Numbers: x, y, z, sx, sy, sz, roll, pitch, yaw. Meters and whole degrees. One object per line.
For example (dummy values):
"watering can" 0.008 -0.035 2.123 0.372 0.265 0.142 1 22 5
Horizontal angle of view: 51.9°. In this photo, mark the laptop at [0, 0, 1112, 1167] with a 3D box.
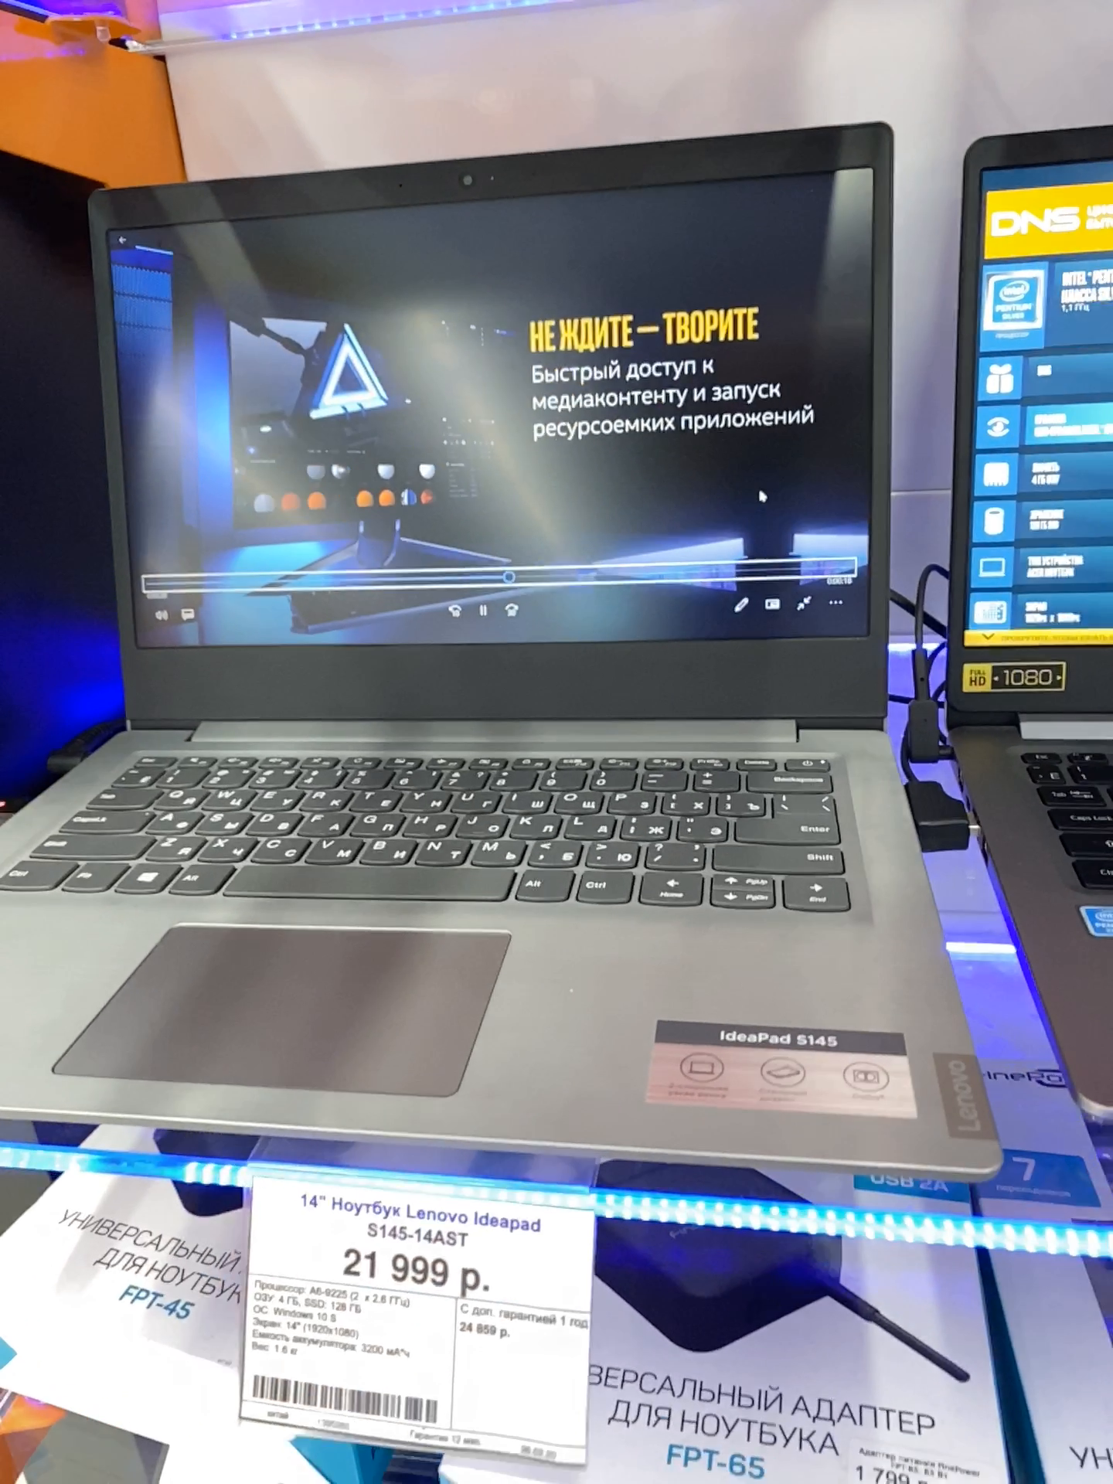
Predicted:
"laptop" -0.051 -0.072 0.359 0.327 0.215 0.304 0 23 10
